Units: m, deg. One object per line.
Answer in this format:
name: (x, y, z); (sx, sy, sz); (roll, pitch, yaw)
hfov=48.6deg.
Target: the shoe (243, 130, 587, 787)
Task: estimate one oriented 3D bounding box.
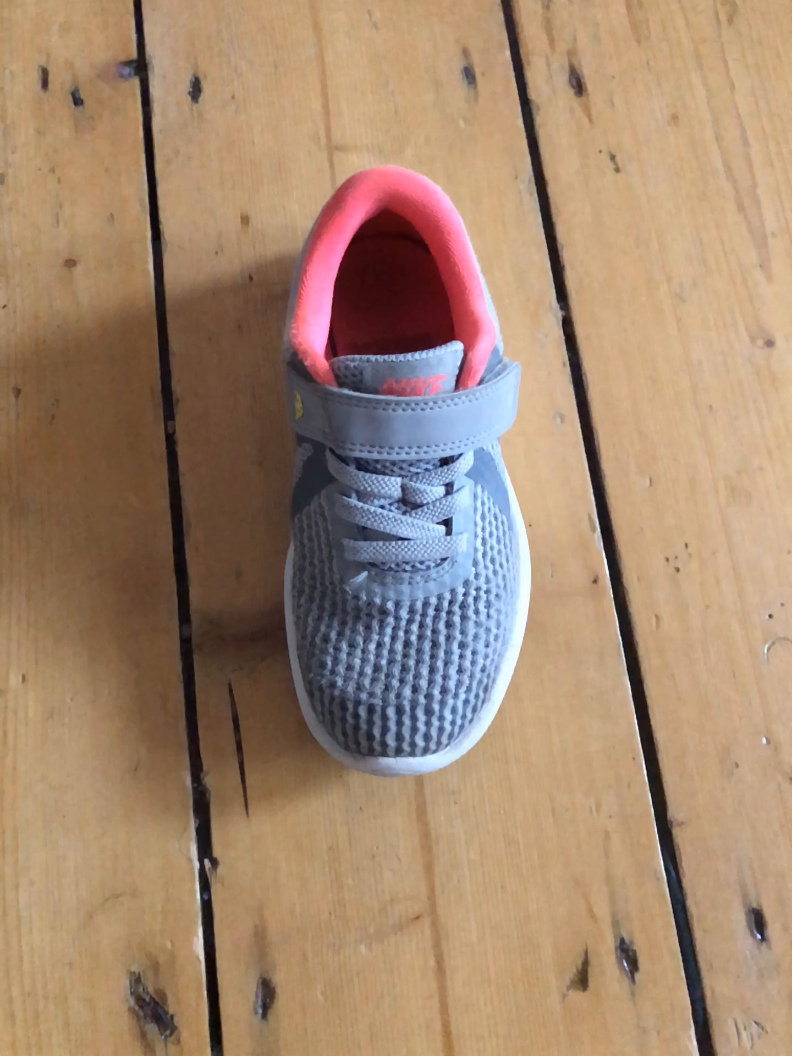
shoe: (0.001, -0.019, 0.268); (0.080, 0.070, 0.180); (-3, 77, -2)
